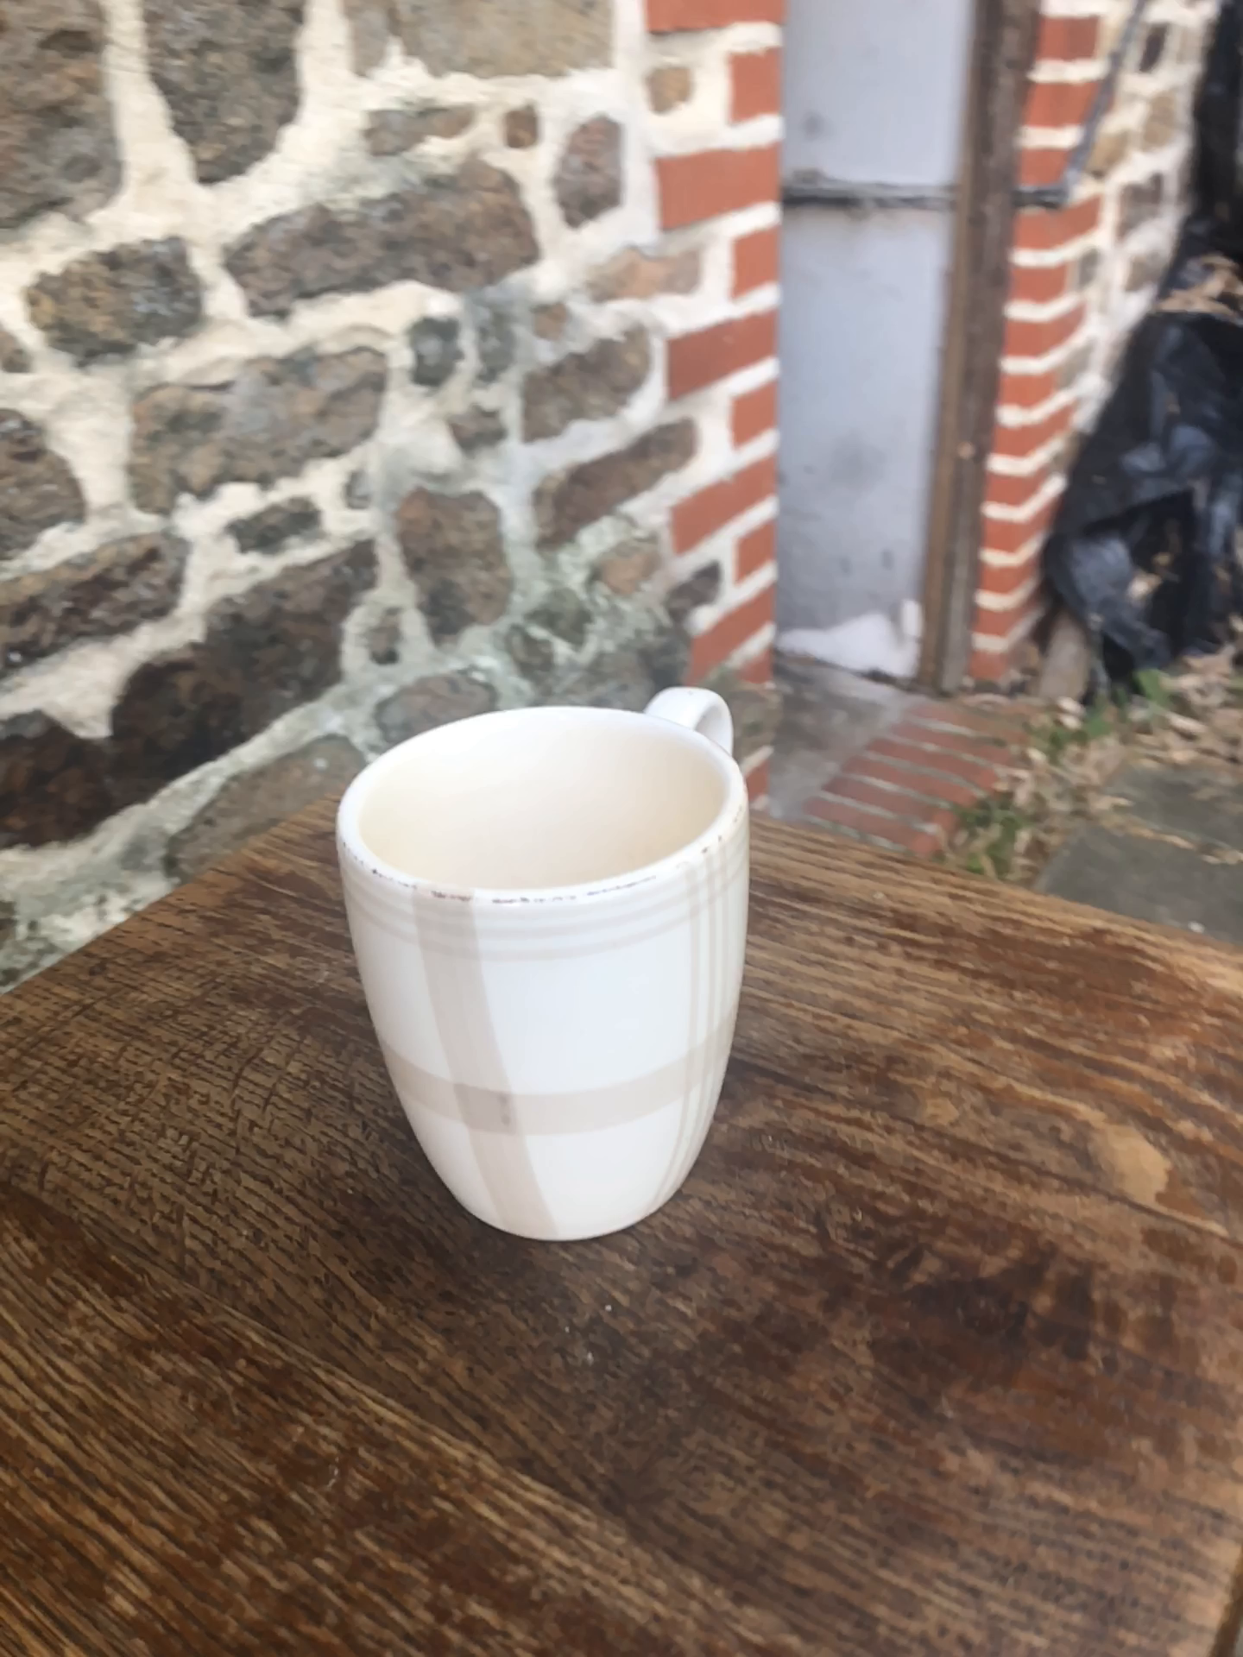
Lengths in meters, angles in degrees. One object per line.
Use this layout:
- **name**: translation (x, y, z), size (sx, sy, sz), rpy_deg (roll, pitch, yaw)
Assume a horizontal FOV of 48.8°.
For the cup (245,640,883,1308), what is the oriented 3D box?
- **cup**: translation (-0.003, 0.022, 0.312), size (0.087, 0.078, 0.125), rpy_deg (11, 33, 24)
